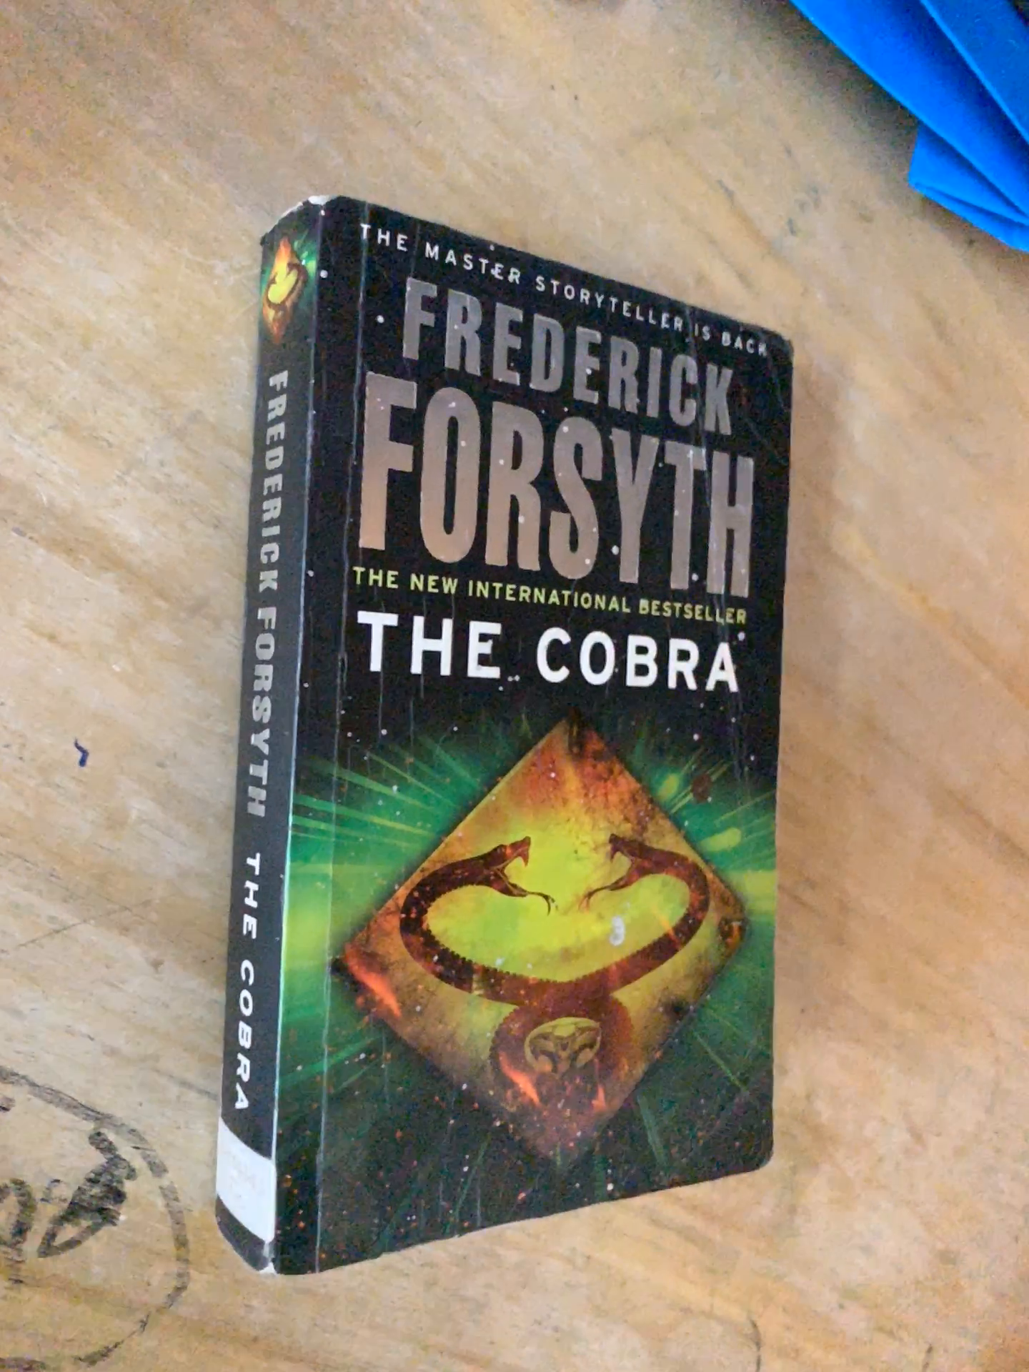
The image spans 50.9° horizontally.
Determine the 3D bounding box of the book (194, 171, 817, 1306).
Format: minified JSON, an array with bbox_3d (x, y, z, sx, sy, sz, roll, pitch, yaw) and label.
[{"bbox_3d":[0.001,0.009,0.196,0.100,0.040,0.160,3,89,-32],"label":"book"}]
